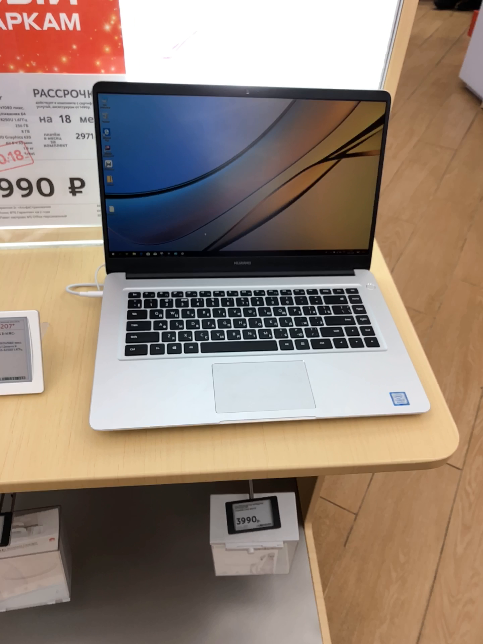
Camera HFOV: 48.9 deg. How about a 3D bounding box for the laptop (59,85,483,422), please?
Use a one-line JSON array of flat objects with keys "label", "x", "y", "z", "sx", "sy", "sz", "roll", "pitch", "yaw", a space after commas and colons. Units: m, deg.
[{"label": "laptop", "x": 0.015, "y": -0.088, "z": 0.580, "sx": 0.340, "sy": 0.204, "sz": 0.307, "roll": -2, "pitch": 44, "yaw": -8}]
